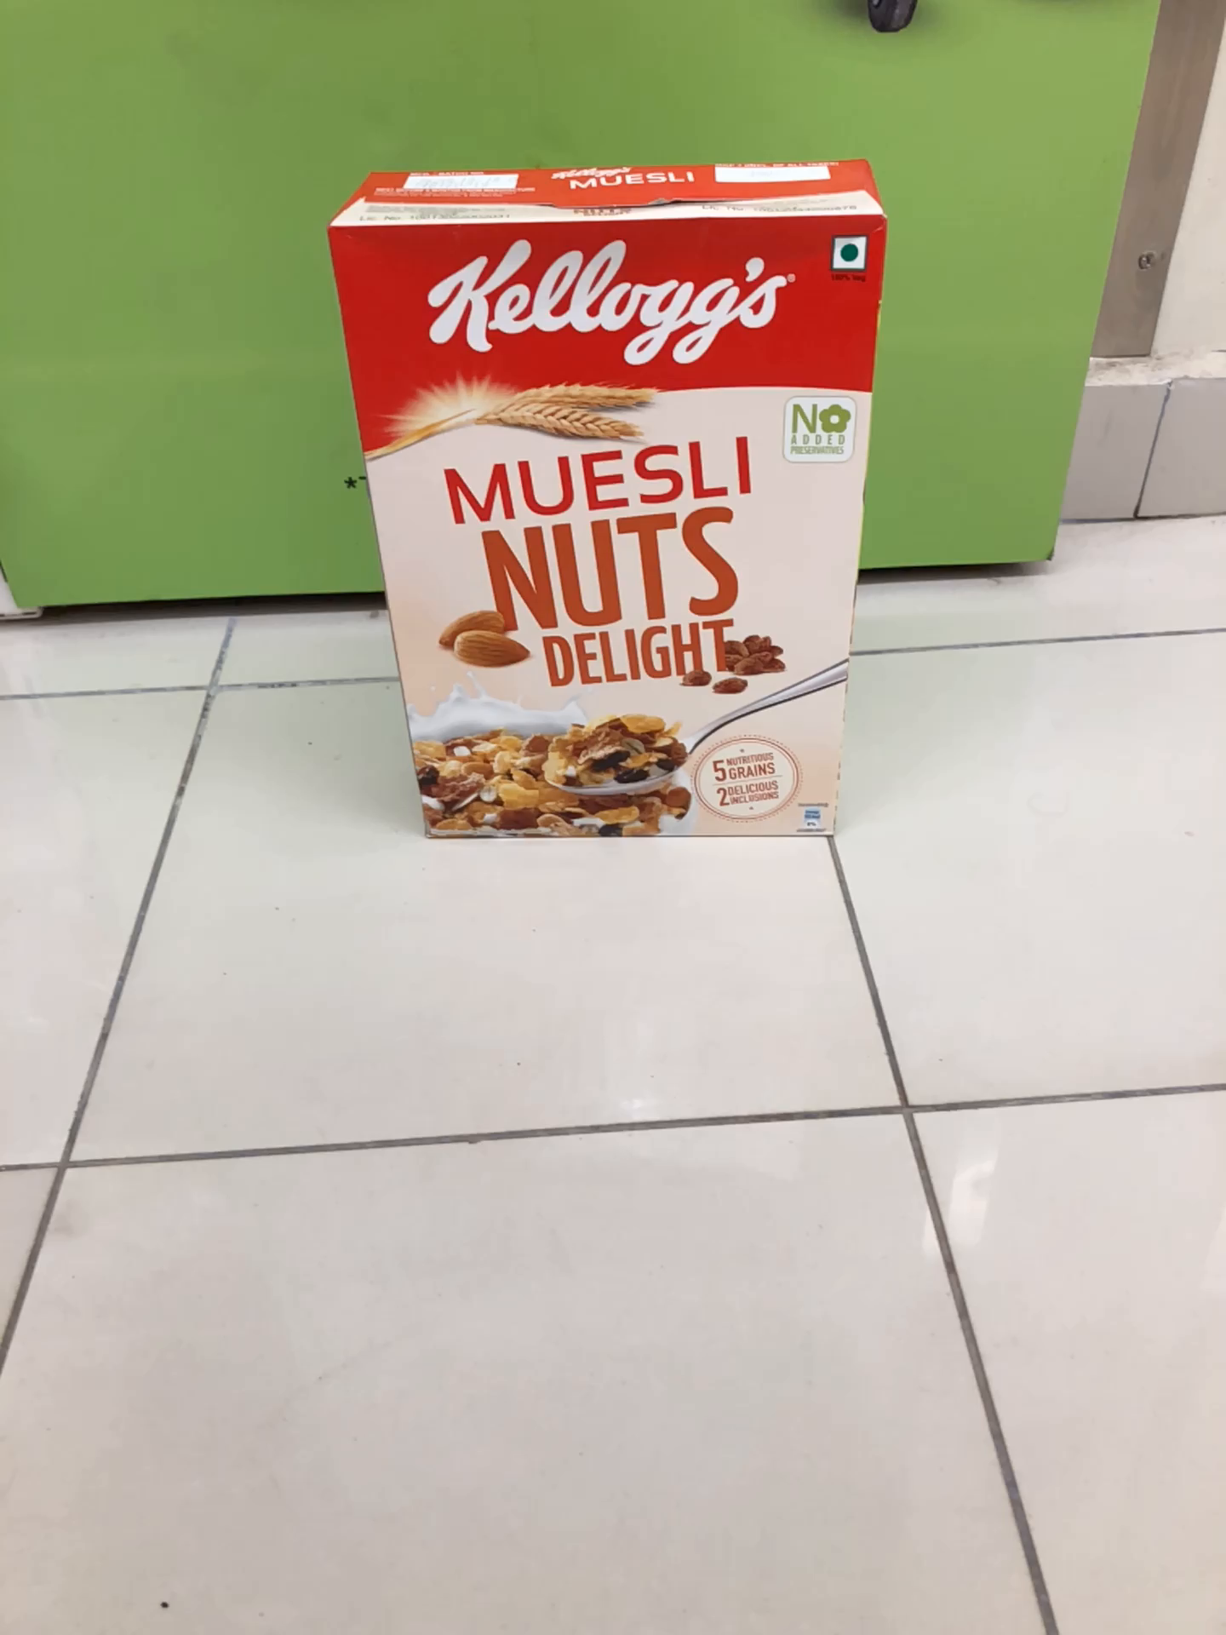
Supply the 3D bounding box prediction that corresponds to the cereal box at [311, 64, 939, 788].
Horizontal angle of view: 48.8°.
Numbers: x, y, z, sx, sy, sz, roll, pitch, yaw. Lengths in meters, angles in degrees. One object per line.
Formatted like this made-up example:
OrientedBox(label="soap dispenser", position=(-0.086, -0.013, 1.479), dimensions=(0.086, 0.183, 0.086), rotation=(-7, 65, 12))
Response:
OrientedBox(label="cereal box", position=(0.007, -0.145, 0.546), dimensions=(0.200, 0.268, 0.081), rotation=(2, 40, 4))
